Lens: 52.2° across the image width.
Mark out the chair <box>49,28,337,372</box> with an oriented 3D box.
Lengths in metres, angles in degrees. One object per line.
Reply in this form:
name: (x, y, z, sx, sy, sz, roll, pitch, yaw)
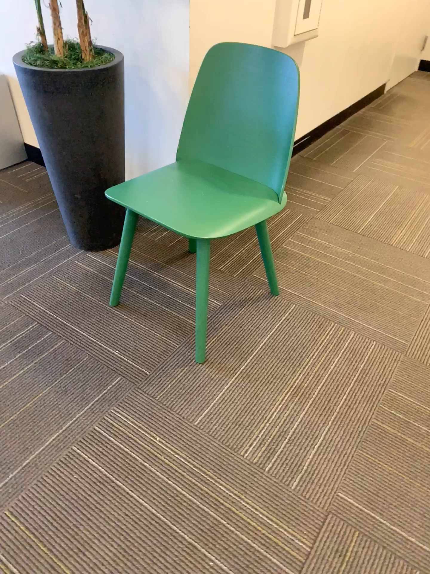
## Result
chair: (-0.049, -0.276, 1.329, 0.481, 0.765, 0.542, 27, 45, 26)
